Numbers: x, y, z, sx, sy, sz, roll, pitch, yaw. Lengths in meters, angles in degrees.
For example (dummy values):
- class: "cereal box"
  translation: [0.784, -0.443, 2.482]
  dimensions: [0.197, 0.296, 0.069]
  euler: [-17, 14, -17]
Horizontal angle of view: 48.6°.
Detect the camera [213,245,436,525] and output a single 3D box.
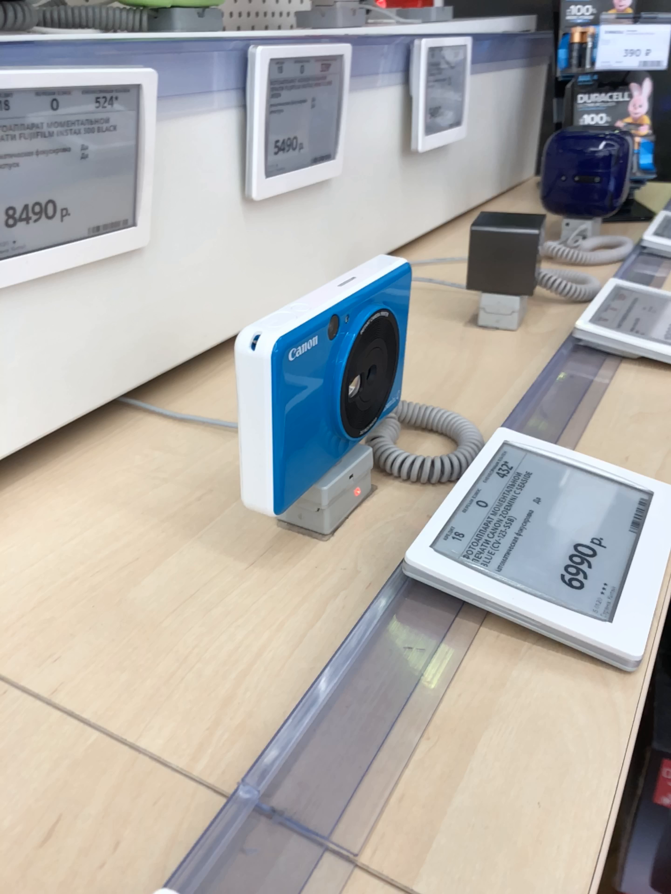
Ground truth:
- class: "camera"
  translation: [0.000, -0.032, 0.307]
  dimensions: [0.030, 0.070, 0.121]
  euler: [18, 35, 24]
